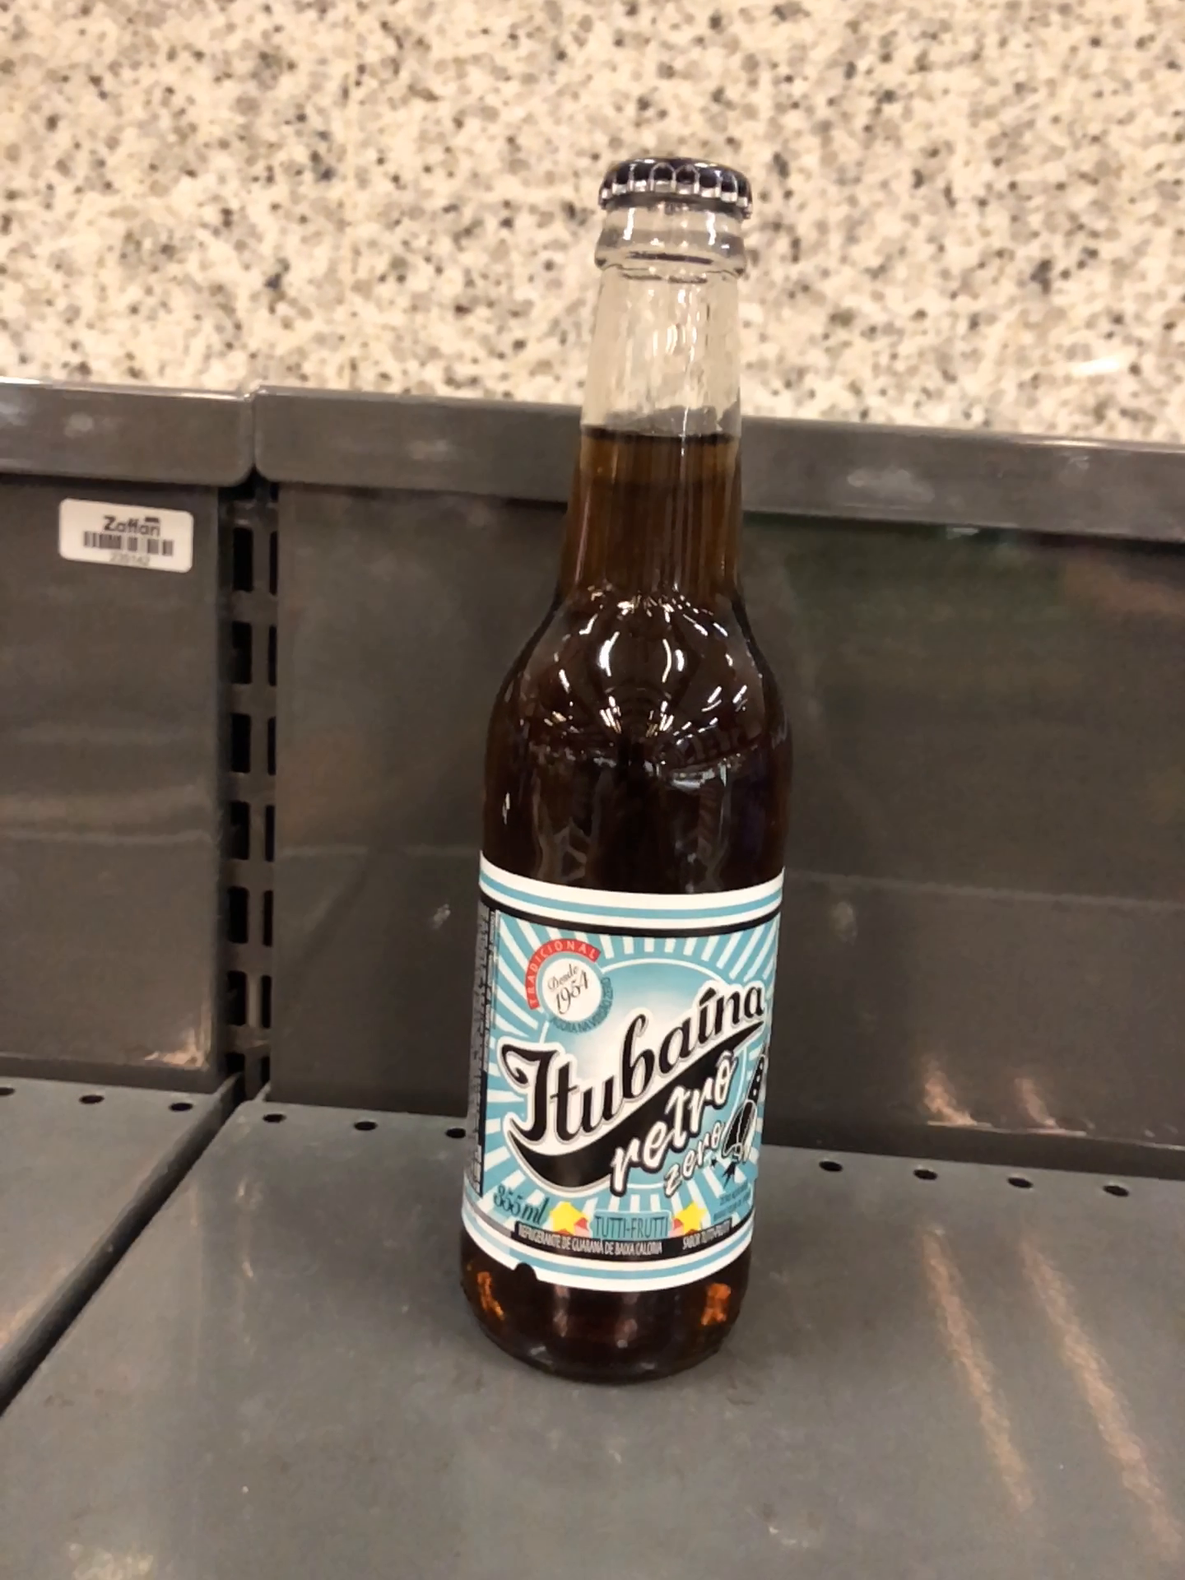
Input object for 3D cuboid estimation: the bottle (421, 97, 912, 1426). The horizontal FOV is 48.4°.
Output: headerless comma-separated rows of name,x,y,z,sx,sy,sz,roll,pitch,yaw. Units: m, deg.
bottle,0.007,0.003,0.263,0.070,0.239,0.050,2,12,-10
